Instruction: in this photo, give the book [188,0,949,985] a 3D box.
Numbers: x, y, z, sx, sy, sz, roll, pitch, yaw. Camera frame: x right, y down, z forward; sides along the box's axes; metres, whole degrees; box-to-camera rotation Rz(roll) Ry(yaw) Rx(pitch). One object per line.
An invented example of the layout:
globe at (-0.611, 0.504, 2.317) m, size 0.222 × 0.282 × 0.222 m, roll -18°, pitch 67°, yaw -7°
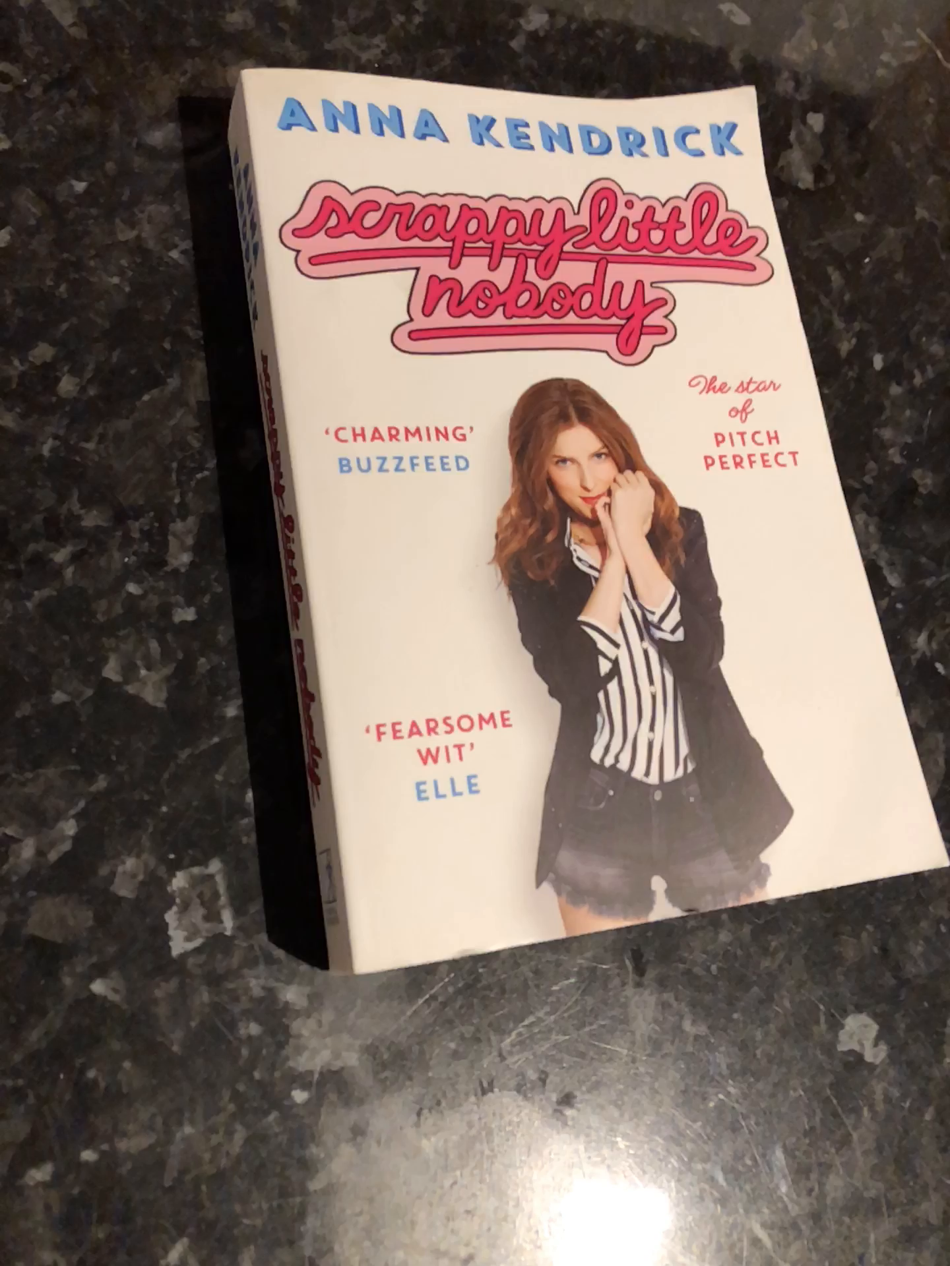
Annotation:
book at (0.017, -0.040, 0.243) m, size 0.140 × 0.050 × 0.210 m, roll -3°, pitch 74°, yaw -22°
